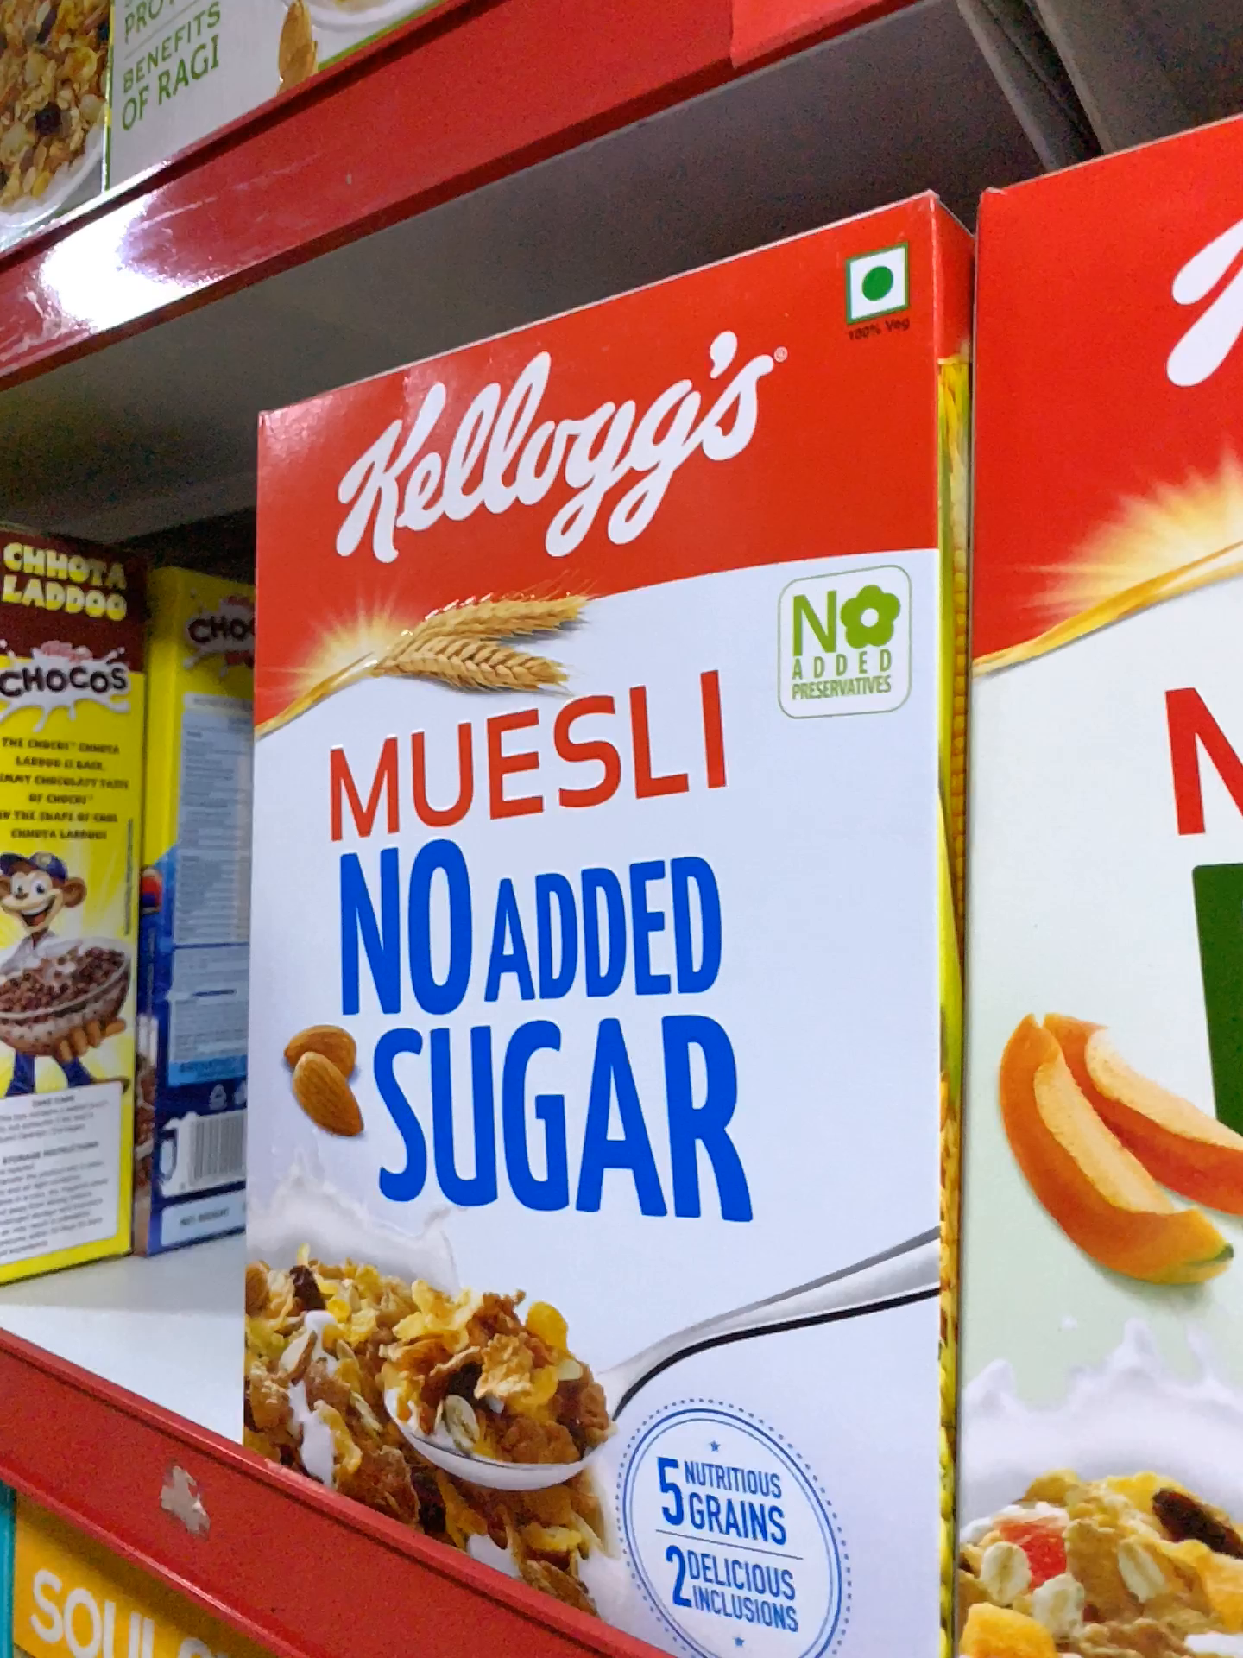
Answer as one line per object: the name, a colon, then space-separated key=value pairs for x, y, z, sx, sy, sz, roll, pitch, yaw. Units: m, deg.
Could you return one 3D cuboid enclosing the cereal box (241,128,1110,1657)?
cereal box: x=0.000 y=0.016 z=0.266 sx=0.180 sy=0.240 sz=0.050 roll=-1 pitch=-3 yaw=39
